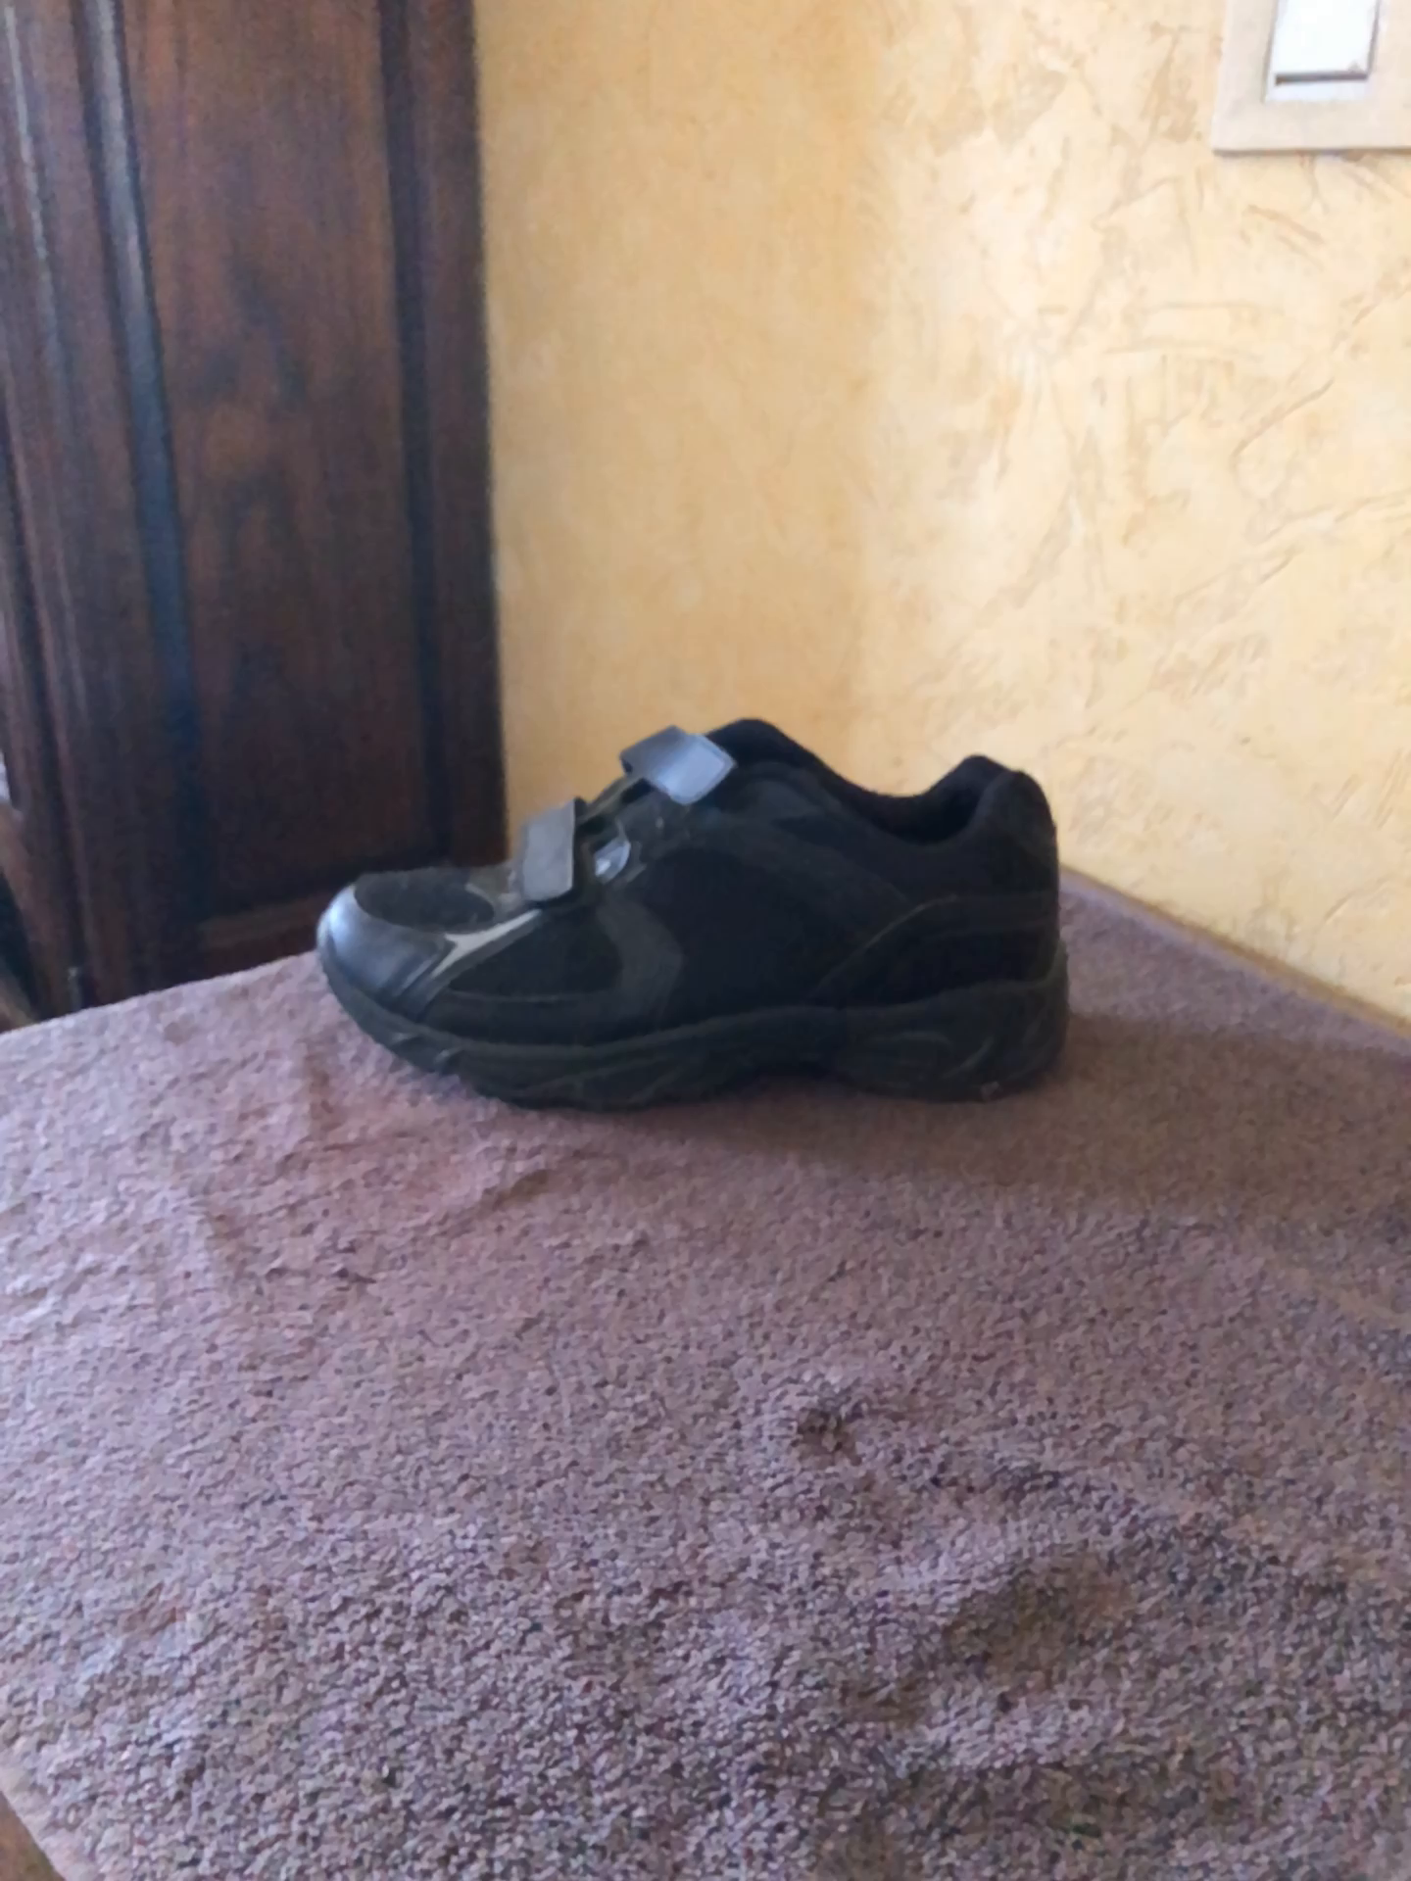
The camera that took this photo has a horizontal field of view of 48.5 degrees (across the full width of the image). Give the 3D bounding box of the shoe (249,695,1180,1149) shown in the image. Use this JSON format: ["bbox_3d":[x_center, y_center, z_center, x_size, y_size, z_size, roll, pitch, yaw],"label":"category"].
[{"bbox_3d":[0.003,-0.011,0.526,0.270,0.109,0.111,2,24,1],"label":"shoe"}]
